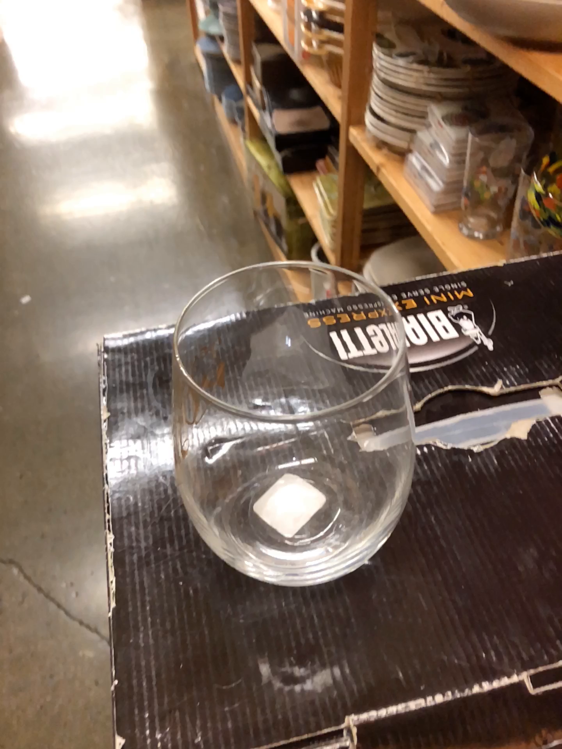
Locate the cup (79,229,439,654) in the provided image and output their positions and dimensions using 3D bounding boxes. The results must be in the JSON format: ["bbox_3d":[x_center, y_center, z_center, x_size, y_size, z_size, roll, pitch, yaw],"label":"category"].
[{"bbox_3d":[0.003,0.025,0.231,0.090,0.114,0.096,-2,46,2],"label":"cup"}]
